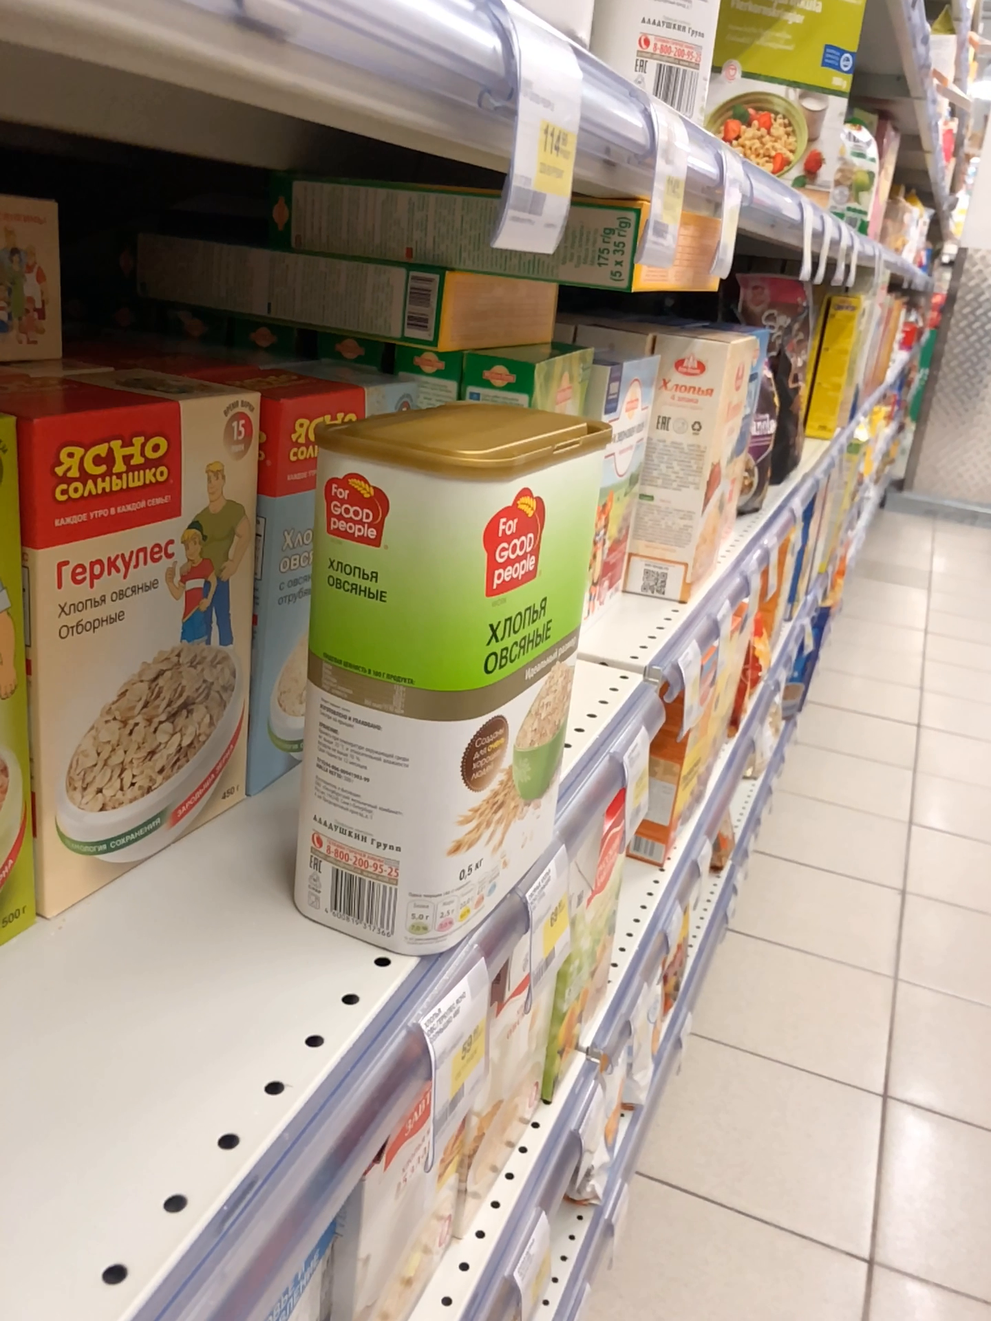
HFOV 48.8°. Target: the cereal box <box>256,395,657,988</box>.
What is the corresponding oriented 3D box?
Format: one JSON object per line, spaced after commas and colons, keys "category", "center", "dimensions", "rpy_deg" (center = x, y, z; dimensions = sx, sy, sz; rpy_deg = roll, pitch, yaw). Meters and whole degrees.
{"category": "cereal box", "center": [-0.014, 0.000, 0.441], "dimensions": [0.090, 0.189, 0.141], "rpy_deg": [15, 22, 23]}
